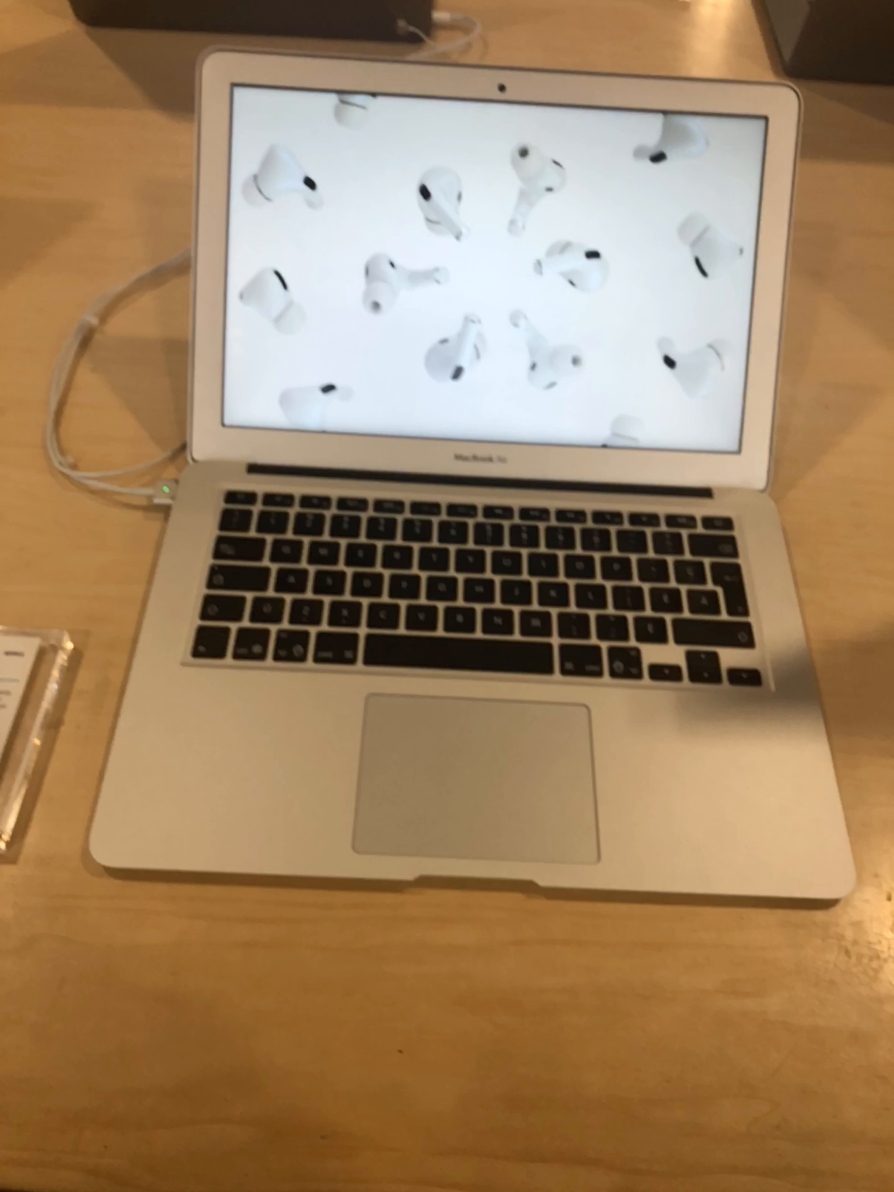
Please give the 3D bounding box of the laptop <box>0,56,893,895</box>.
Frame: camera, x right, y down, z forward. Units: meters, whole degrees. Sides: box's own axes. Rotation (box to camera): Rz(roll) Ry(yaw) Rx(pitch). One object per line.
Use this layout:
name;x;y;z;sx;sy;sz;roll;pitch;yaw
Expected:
laptop;0.020;-0.077;0.458;0.302;0.137;0.371;3;54;-2
